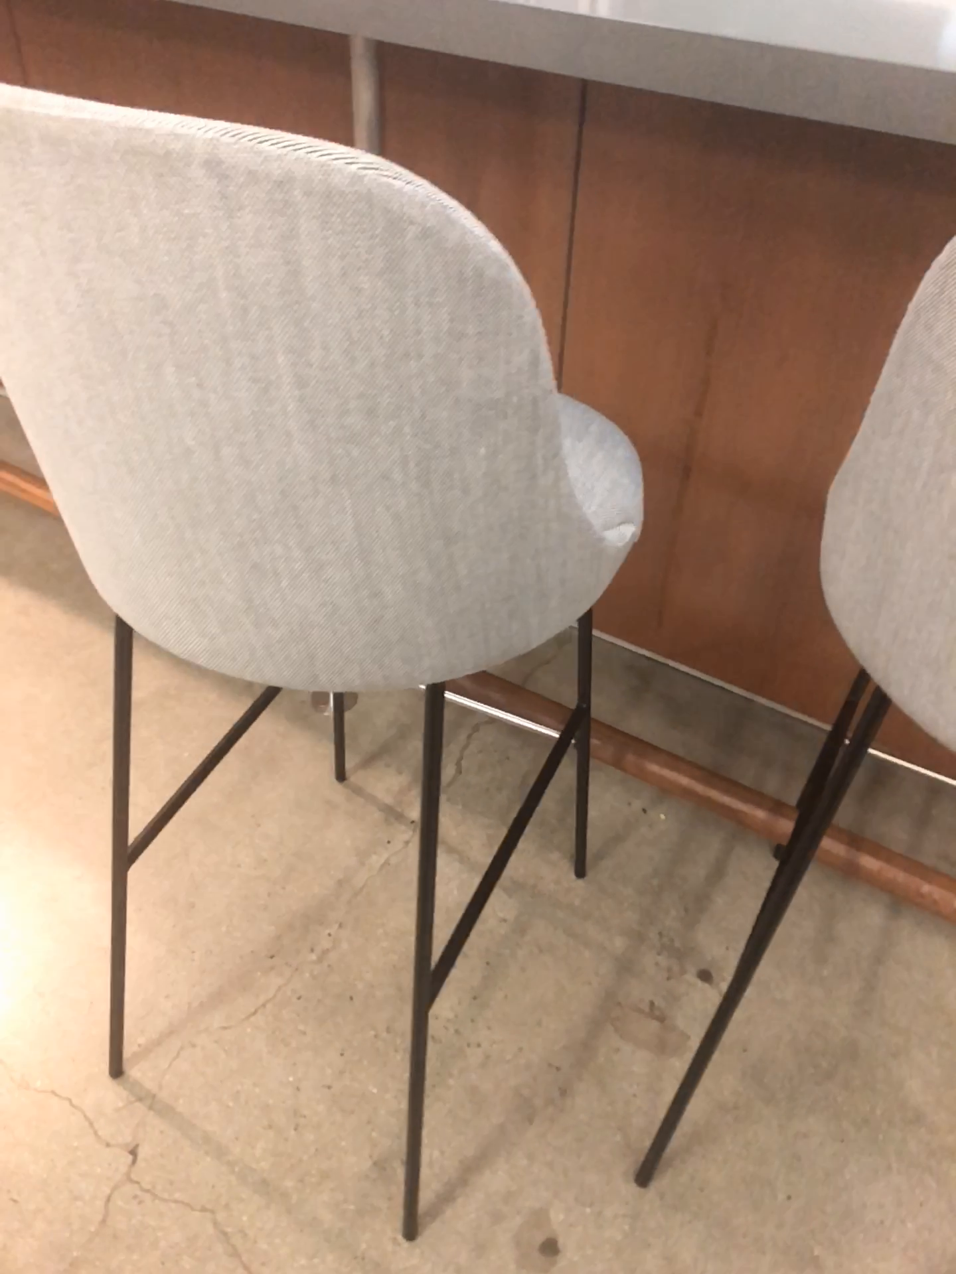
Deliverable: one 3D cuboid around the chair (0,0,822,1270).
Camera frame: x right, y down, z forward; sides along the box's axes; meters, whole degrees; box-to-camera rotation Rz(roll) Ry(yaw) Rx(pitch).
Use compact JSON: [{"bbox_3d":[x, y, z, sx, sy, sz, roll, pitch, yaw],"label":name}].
[{"bbox_3d":[-0.124,-0.023,1.022,0.510,1.090,0.636,20,44,19],"label":"chair"}]
